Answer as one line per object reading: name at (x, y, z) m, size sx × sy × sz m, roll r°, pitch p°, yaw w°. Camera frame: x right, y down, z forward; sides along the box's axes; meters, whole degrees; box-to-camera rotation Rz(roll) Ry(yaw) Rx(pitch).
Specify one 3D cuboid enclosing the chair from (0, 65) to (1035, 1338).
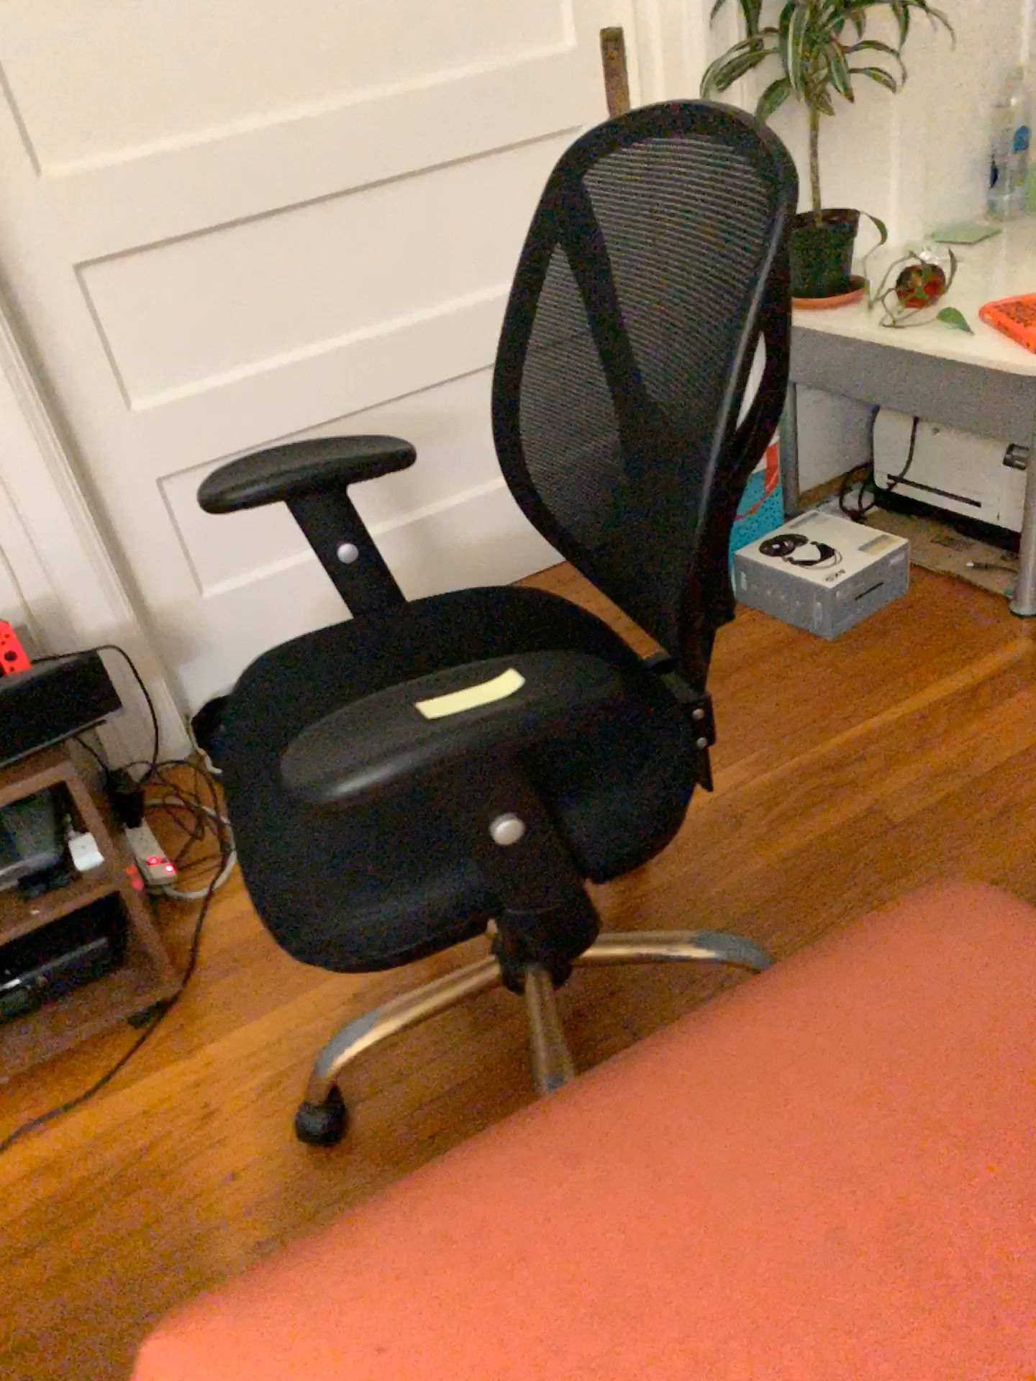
chair at (0.008, -0.028, 1.070) m, size 0.660 × 0.974 × 0.644 m, roll -14°, pitch 34°, yaw -12°
